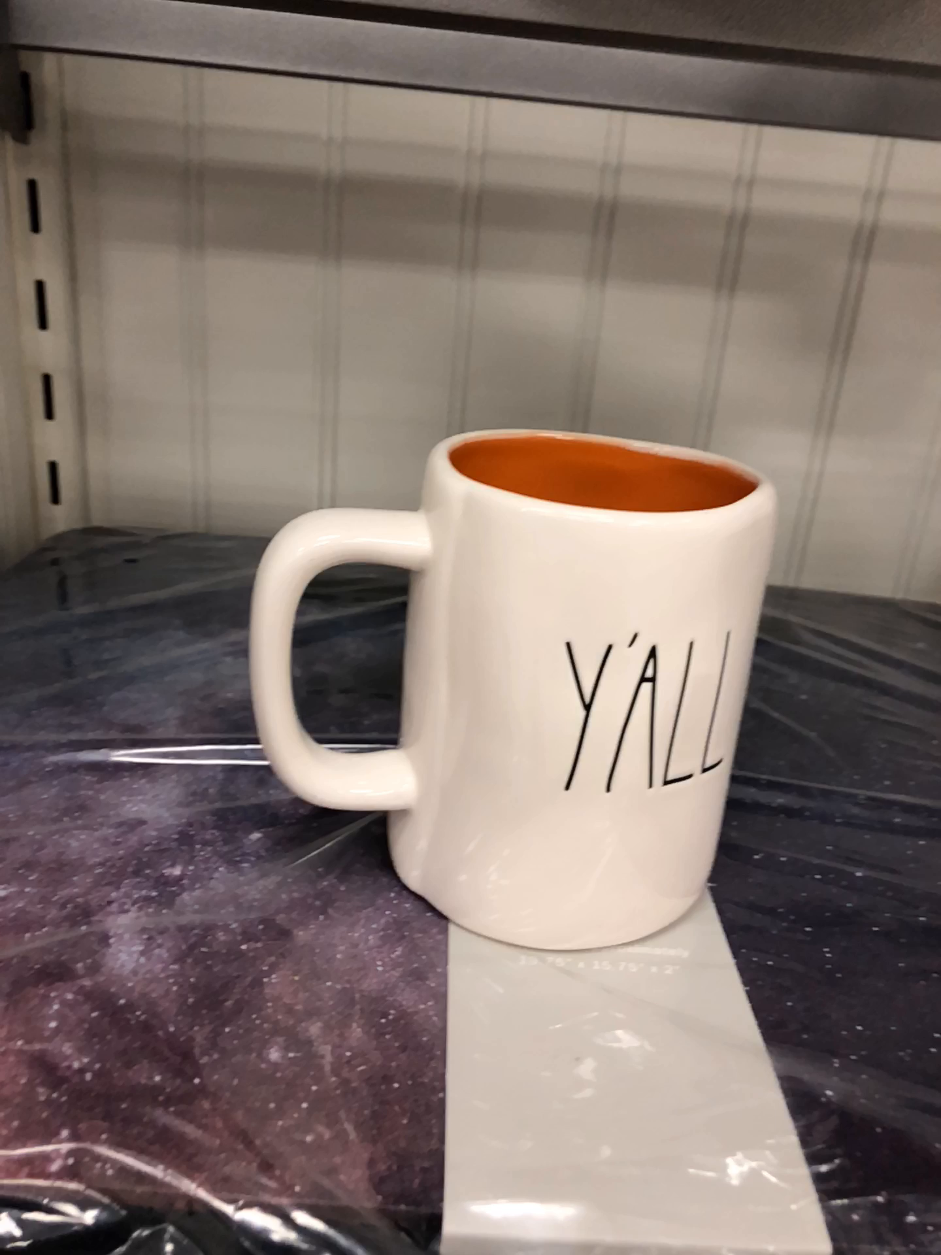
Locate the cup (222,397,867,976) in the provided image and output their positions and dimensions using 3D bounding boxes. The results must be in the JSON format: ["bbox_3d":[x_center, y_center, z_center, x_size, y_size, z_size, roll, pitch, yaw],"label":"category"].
[{"bbox_3d":[0.007,0.010,0.283,0.140,0.119,0.091,0,24,-12],"label":"cup"}]
